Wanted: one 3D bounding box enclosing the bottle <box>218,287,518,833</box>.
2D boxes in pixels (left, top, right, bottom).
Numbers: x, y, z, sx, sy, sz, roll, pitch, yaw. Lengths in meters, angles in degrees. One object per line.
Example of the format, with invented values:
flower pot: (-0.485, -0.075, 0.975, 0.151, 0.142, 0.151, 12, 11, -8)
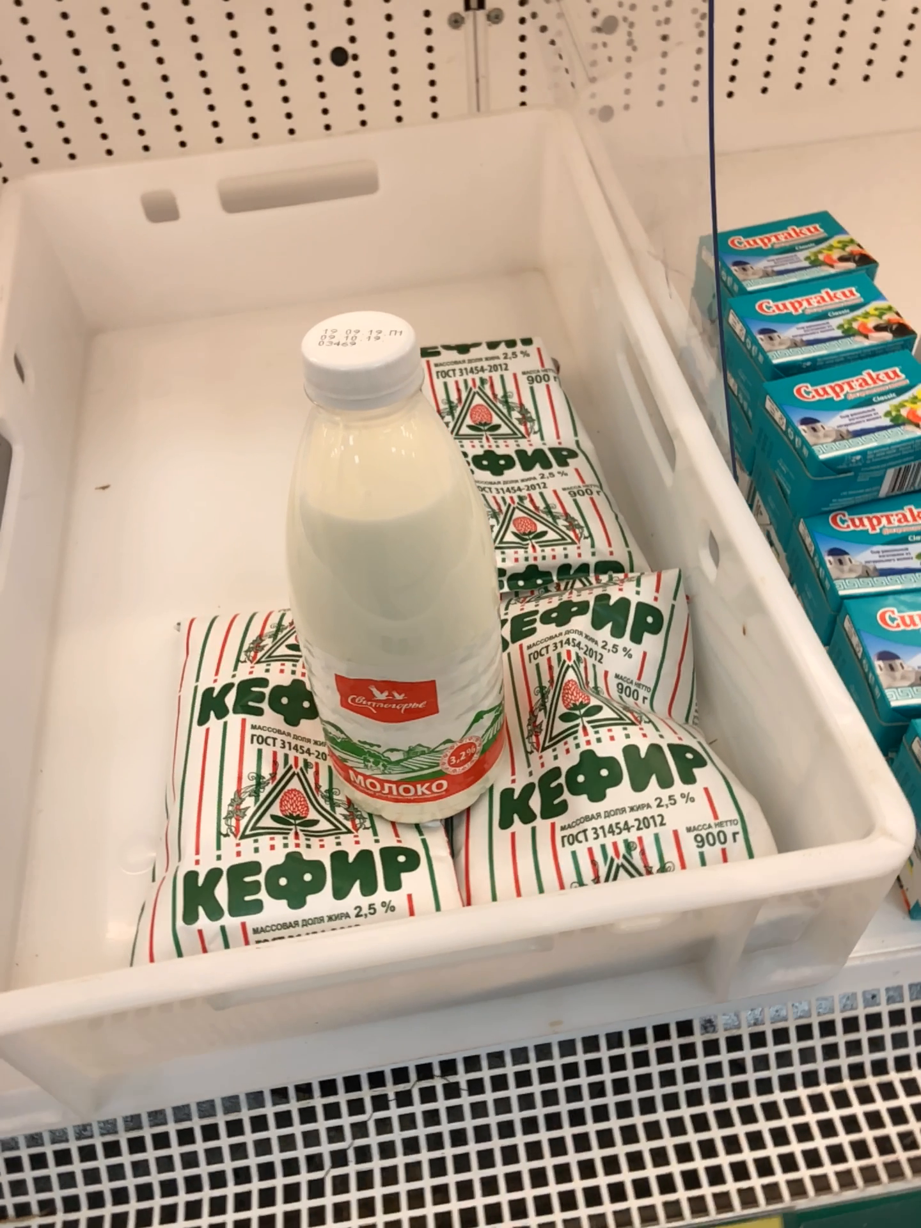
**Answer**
bottle: (-0.022, -0.010, 0.409, 0.085, 0.216, 0.085, -2, 45, 2)
